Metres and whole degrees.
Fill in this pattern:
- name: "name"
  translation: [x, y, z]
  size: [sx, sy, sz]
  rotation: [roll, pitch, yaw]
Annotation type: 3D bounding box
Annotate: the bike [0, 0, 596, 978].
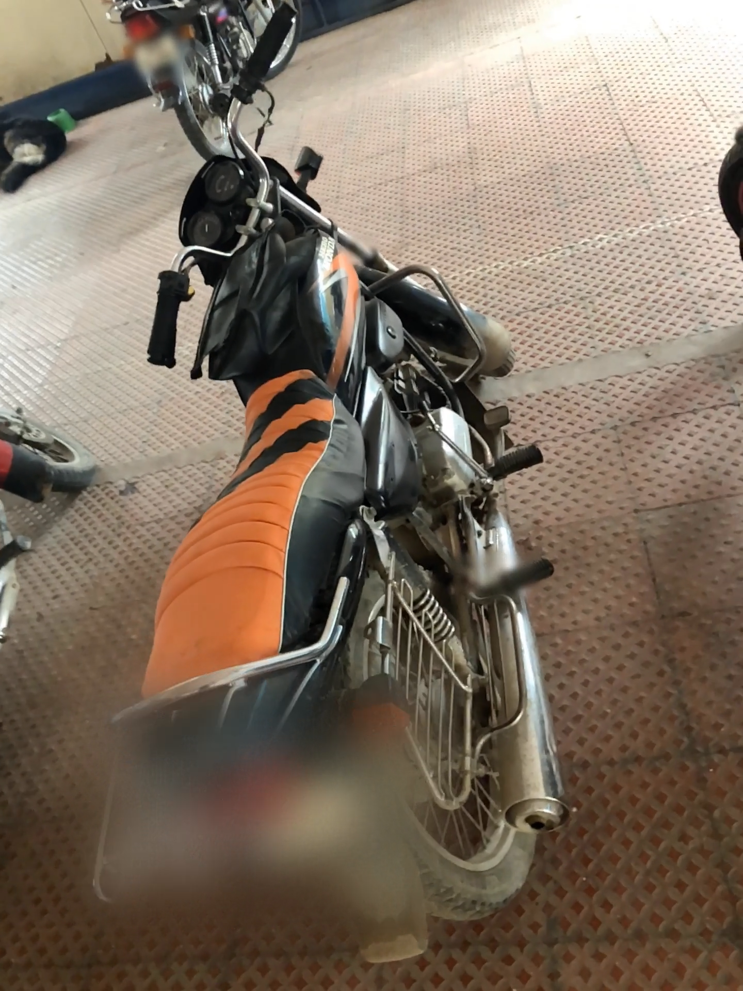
- name: "bike"
  translation: [-0.183, -0.055, 1.532]
  size: [0.688, 1.123, 1.409]
  rotation: [-15, 43, 10]
